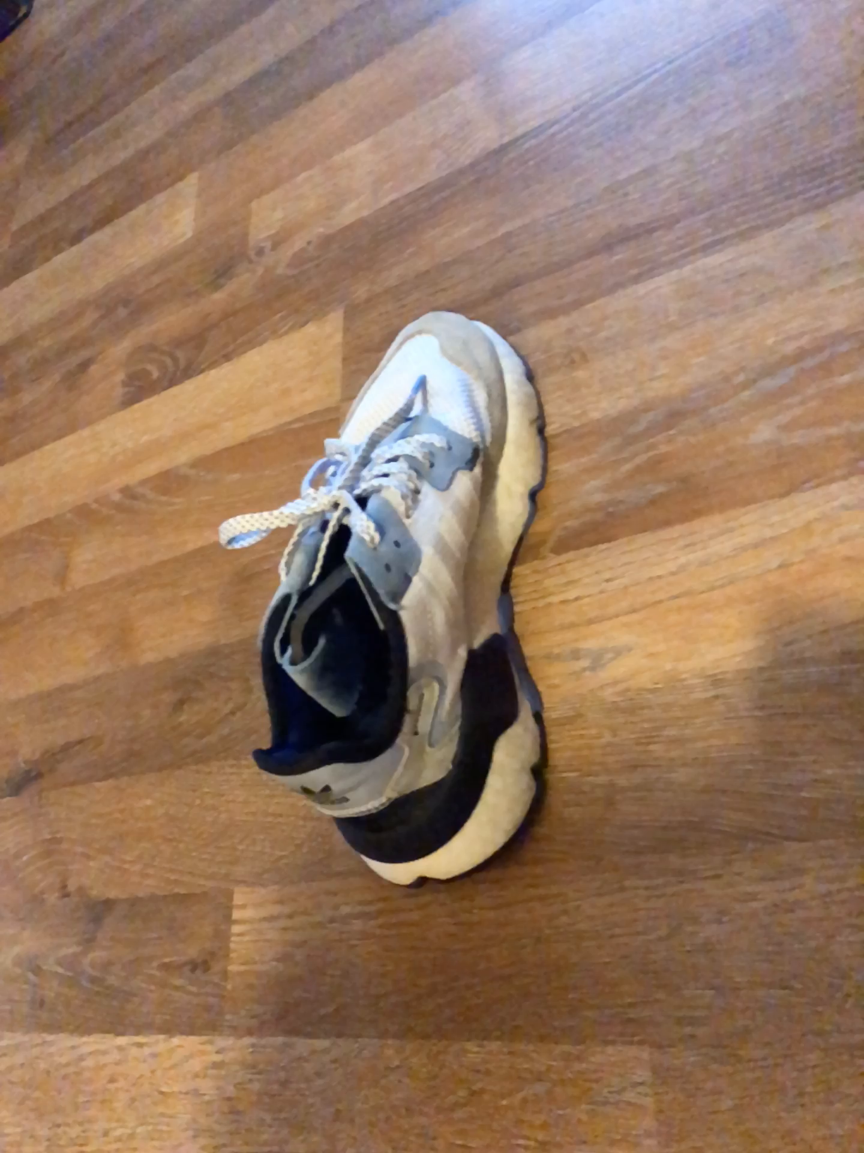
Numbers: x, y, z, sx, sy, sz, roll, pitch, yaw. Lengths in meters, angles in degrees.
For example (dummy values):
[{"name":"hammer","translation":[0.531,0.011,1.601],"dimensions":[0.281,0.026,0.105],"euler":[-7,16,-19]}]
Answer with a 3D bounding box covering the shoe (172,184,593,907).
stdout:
[{"name":"shoe","translation":[-0.018,-0.008,0.410],"dimensions":[0.113,0.109,0.271],"euler":[-16,62,29]}]
